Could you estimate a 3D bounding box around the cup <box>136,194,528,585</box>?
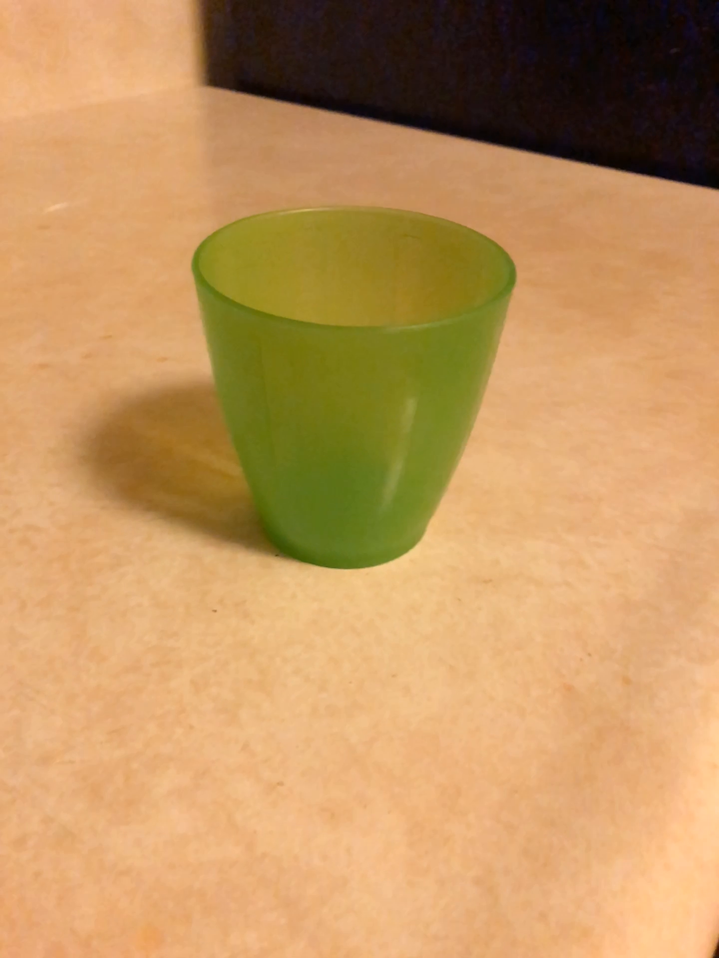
[{"bbox_3d":[-0.004,-0.027,0.216,0.080,0.070,0.080,1,35,-1],"label":"cup"}]
